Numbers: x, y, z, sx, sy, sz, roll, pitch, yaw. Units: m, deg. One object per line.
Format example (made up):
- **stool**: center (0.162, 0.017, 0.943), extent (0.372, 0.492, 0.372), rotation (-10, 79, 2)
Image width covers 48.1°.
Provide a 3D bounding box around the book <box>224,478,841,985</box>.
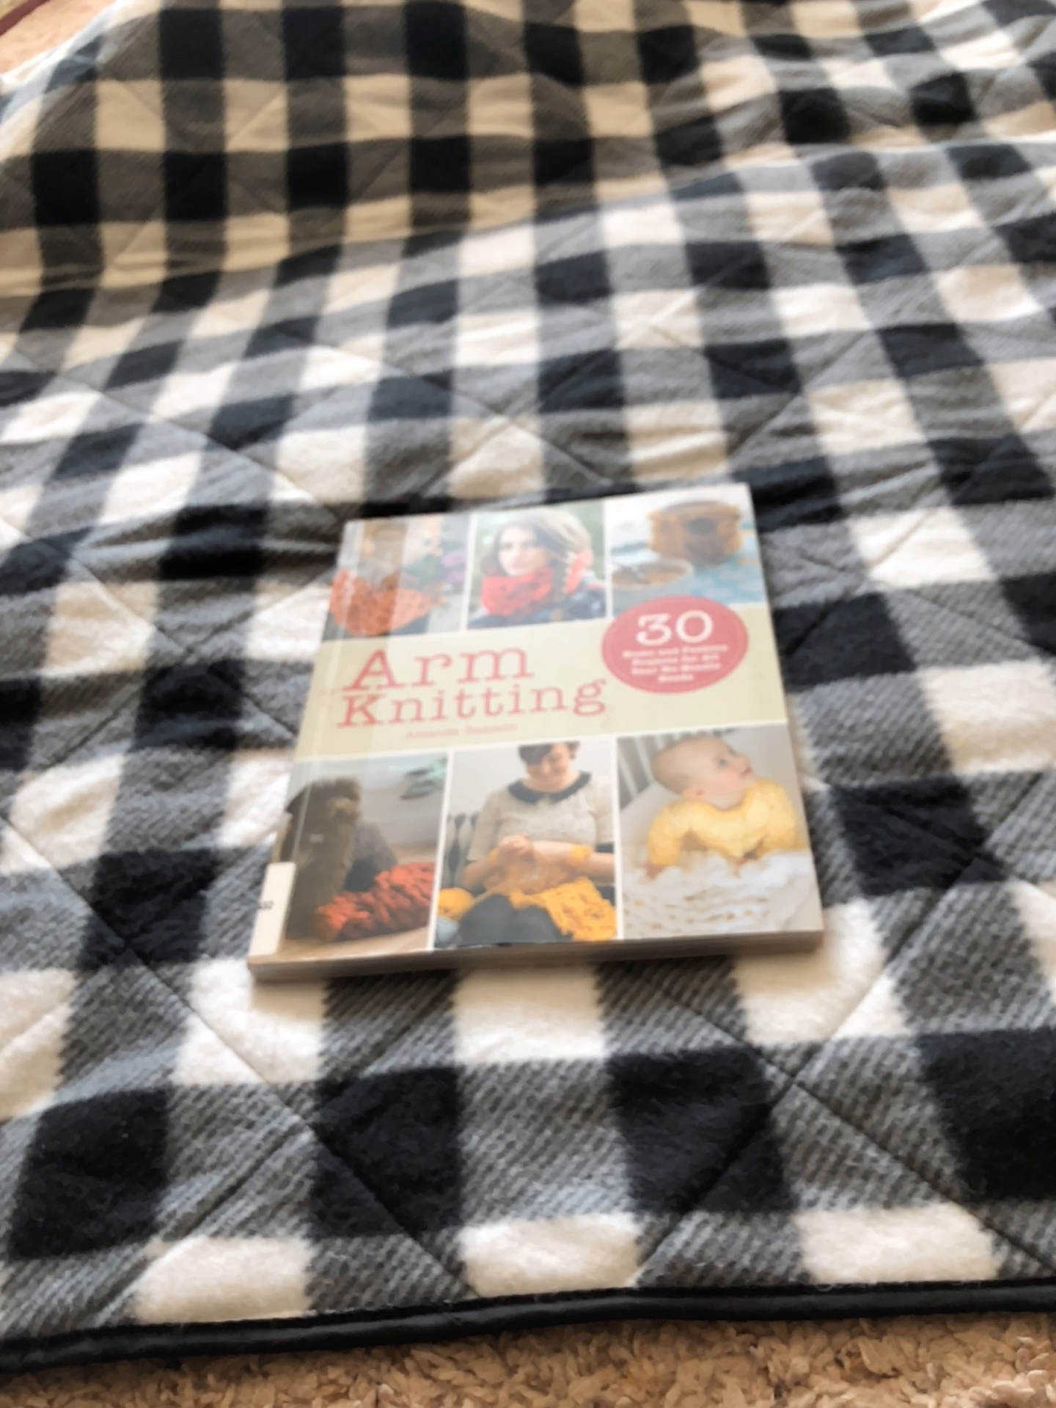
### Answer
- **book**: center (0.004, -0.003, 0.464), extent (0.196, 0.020, 0.239), rotation (-4, 44, 7)
